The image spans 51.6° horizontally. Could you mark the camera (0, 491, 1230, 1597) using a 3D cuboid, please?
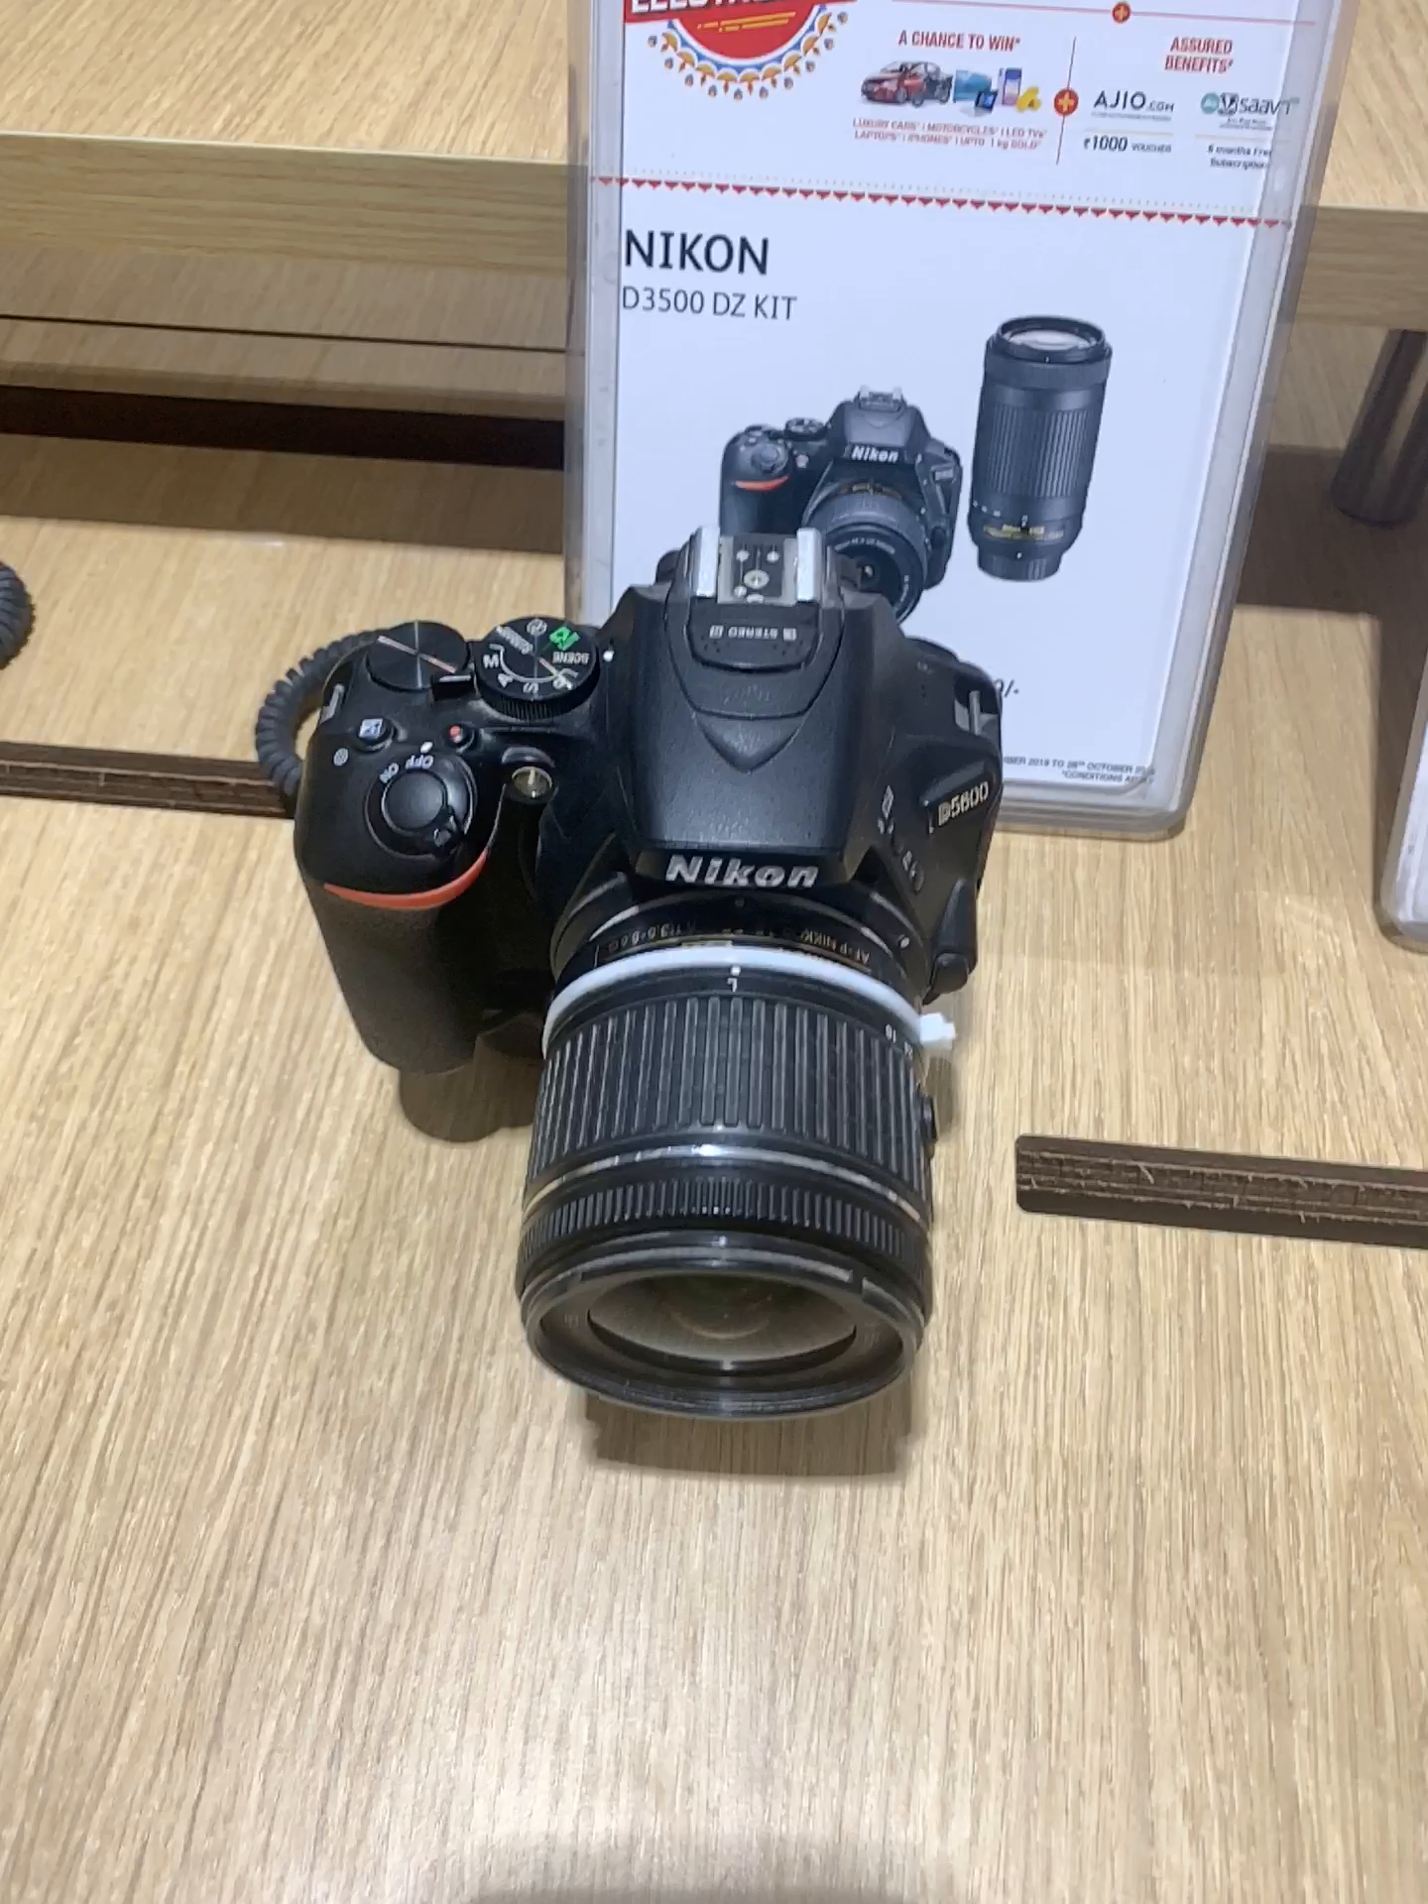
[{"bbox_3d":[-0.010,0.014,0.220,0.130,0.100,0.120,4,54,3],"label":"camera"}]
